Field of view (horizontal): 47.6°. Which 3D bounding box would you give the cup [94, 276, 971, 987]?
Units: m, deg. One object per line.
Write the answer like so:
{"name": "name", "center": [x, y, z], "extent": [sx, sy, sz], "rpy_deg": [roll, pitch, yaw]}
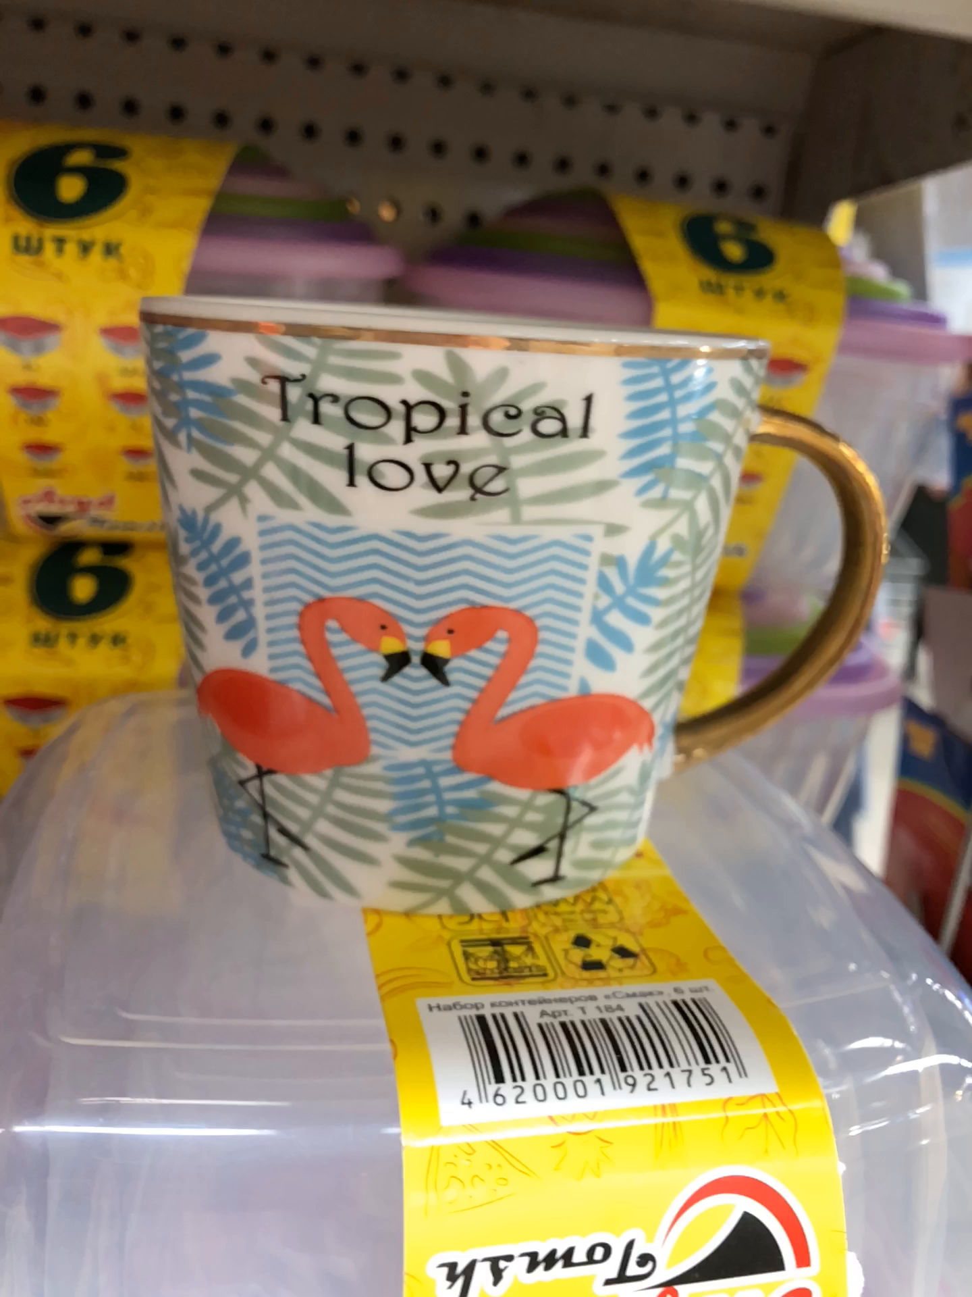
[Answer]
{"name": "cup", "center": [0.003, -0.017, 0.198], "extent": [0.128, 0.085, 0.102], "rpy_deg": [-4, 20, -23]}
